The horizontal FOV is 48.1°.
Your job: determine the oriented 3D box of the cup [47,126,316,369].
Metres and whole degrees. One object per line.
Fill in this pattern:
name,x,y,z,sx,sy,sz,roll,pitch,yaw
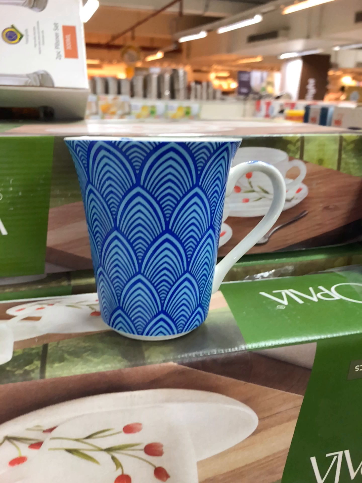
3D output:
cup,-0.006,-0.006,0.215,0.110,0.099,0.080,-3,20,-12
